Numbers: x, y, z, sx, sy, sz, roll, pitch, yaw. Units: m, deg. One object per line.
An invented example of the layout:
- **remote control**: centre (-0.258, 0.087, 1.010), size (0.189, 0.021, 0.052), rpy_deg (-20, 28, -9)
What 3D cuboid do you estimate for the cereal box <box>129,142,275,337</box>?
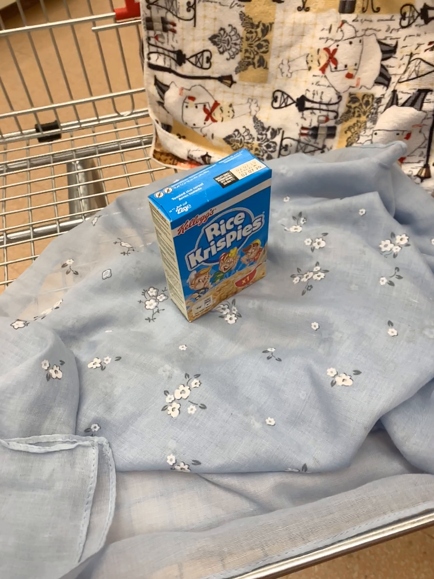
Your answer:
- **cereal box**: centre (-0.007, -0.035, 0.376), size (0.100, 0.139, 0.040), rpy_deg (-33, 60, -19)
